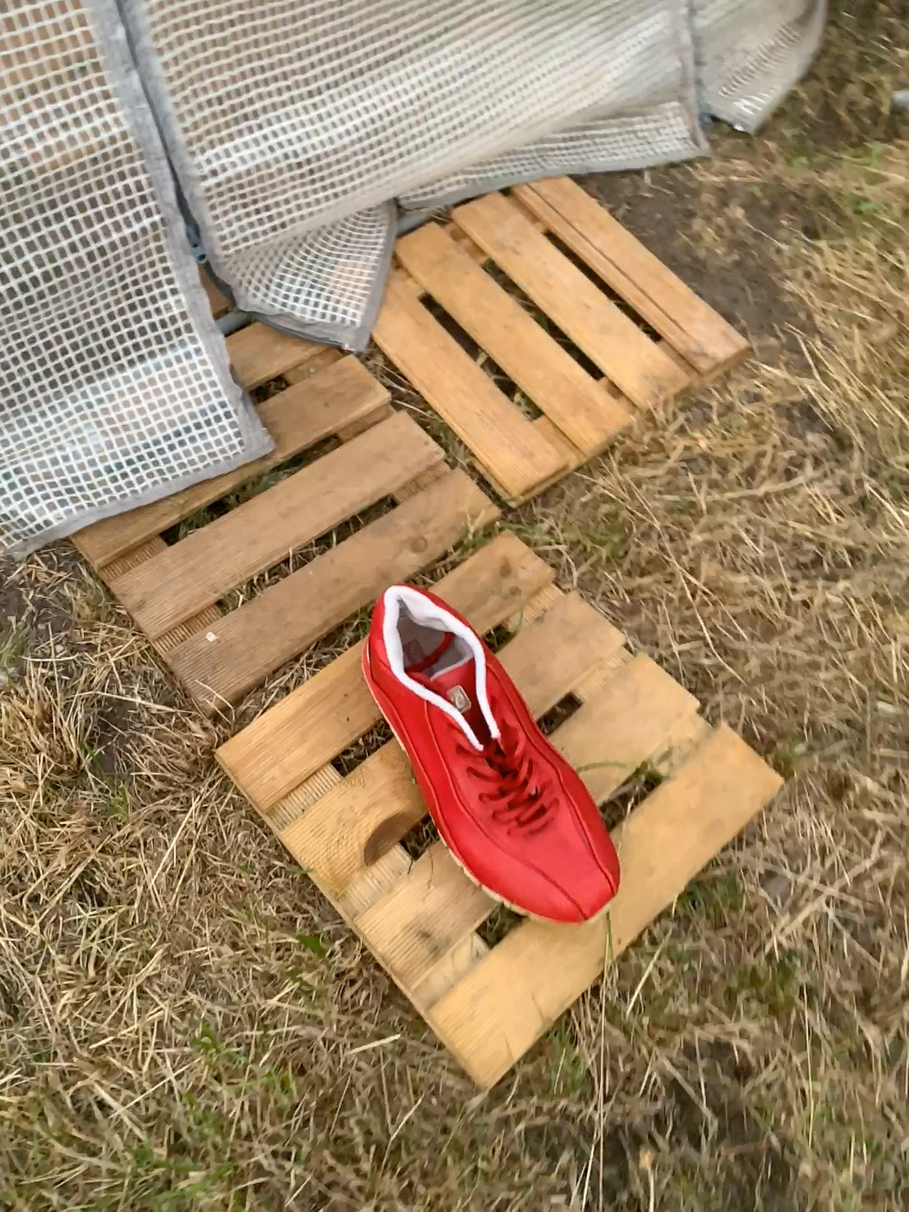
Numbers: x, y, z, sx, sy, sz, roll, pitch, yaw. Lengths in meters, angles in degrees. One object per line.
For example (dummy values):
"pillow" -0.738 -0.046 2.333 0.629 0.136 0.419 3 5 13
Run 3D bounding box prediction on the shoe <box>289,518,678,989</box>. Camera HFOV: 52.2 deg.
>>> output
"shoe" 0.009 0.094 0.632 0.100 0.129 0.282 -30 61 -16
